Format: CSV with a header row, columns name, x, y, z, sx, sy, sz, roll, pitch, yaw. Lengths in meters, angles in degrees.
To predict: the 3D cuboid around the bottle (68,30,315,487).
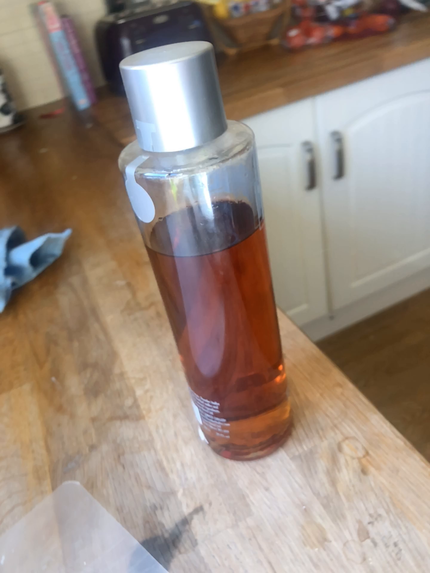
name,x,y,z,sx,sy,sz,roll,pitch,yaw
bottle,-0.001,0.000,0.311,0.080,0.278,0.081,-9,35,6
